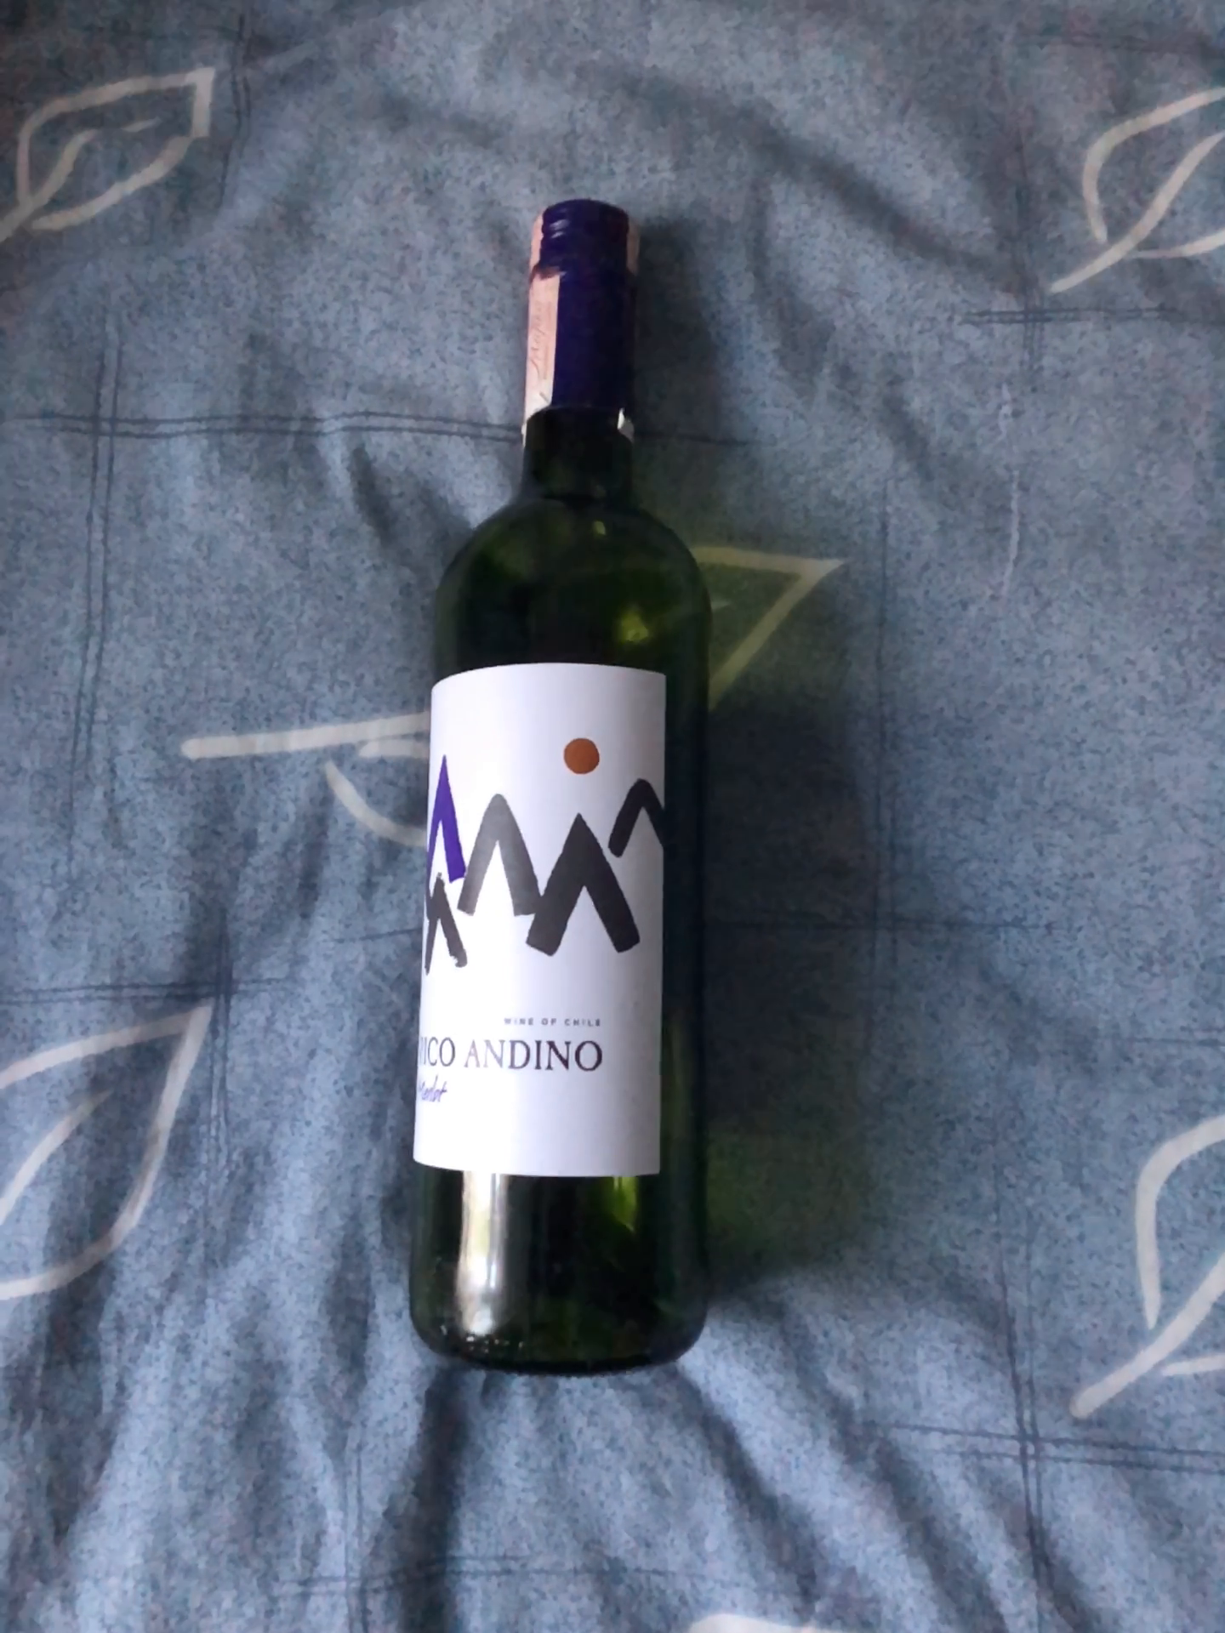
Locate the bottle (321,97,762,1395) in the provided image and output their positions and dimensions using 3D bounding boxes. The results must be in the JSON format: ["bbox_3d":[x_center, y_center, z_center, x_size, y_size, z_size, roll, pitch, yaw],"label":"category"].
[{"bbox_3d":[-0.011,-0.018,0.349,0.080,0.080,0.290,-3,81,22],"label":"bottle"}]
